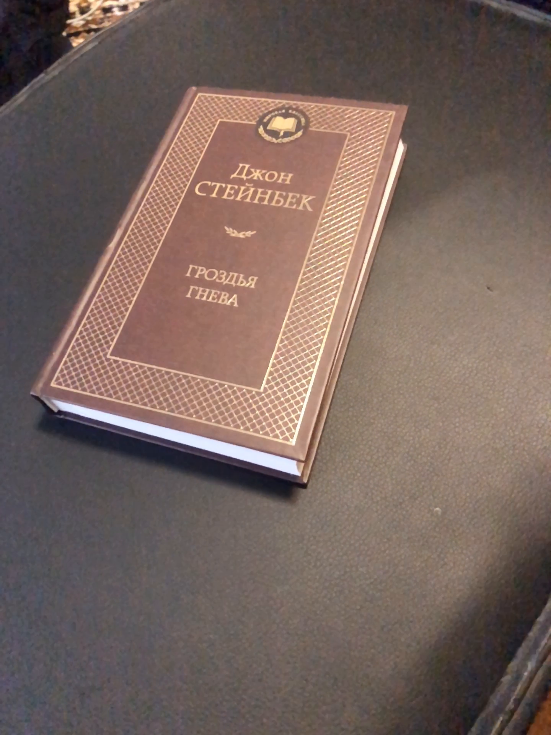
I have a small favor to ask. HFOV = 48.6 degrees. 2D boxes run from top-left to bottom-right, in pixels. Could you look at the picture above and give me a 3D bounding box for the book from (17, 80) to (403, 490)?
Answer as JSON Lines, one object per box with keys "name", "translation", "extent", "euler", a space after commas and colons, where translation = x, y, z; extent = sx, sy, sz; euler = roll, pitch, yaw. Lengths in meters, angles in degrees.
{"name": "book", "translation": [-0.021, -0.055, 0.309], "extent": [0.130, 0.040, 0.200], "euler": [12, 66, 15]}
